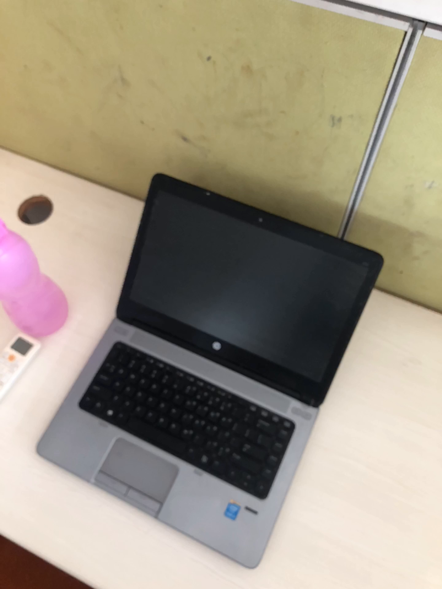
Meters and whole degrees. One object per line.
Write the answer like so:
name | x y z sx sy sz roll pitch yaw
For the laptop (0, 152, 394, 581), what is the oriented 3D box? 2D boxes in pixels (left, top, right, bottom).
laptop | -0.023 0.071 0.636 0.326 0.148 0.407 22 70 13
